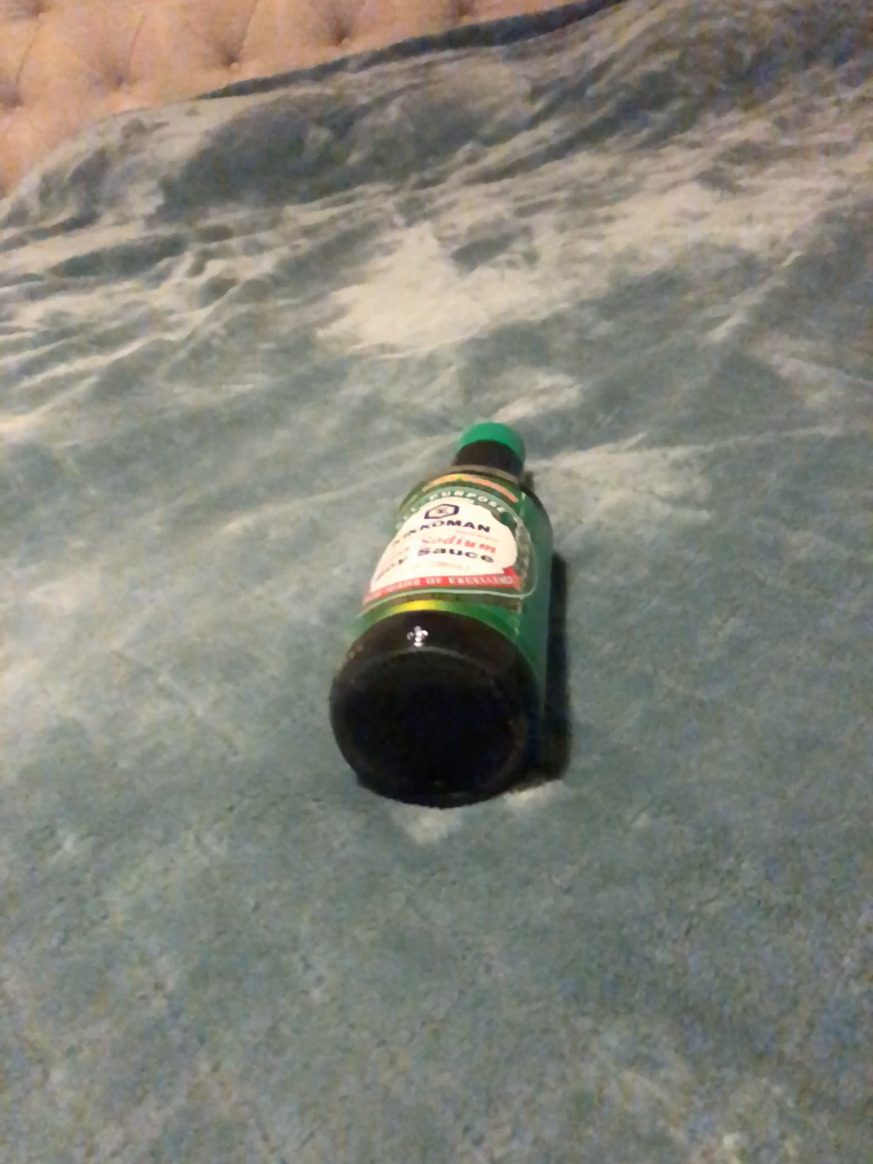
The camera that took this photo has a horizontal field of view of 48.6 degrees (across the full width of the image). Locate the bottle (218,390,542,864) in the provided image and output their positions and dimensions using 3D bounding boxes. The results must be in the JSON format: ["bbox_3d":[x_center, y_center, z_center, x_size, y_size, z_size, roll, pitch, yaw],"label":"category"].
[{"bbox_3d":[-0.003,-0.002,0.337,0.070,0.060,0.211,-6,27,10],"label":"bottle"}]
